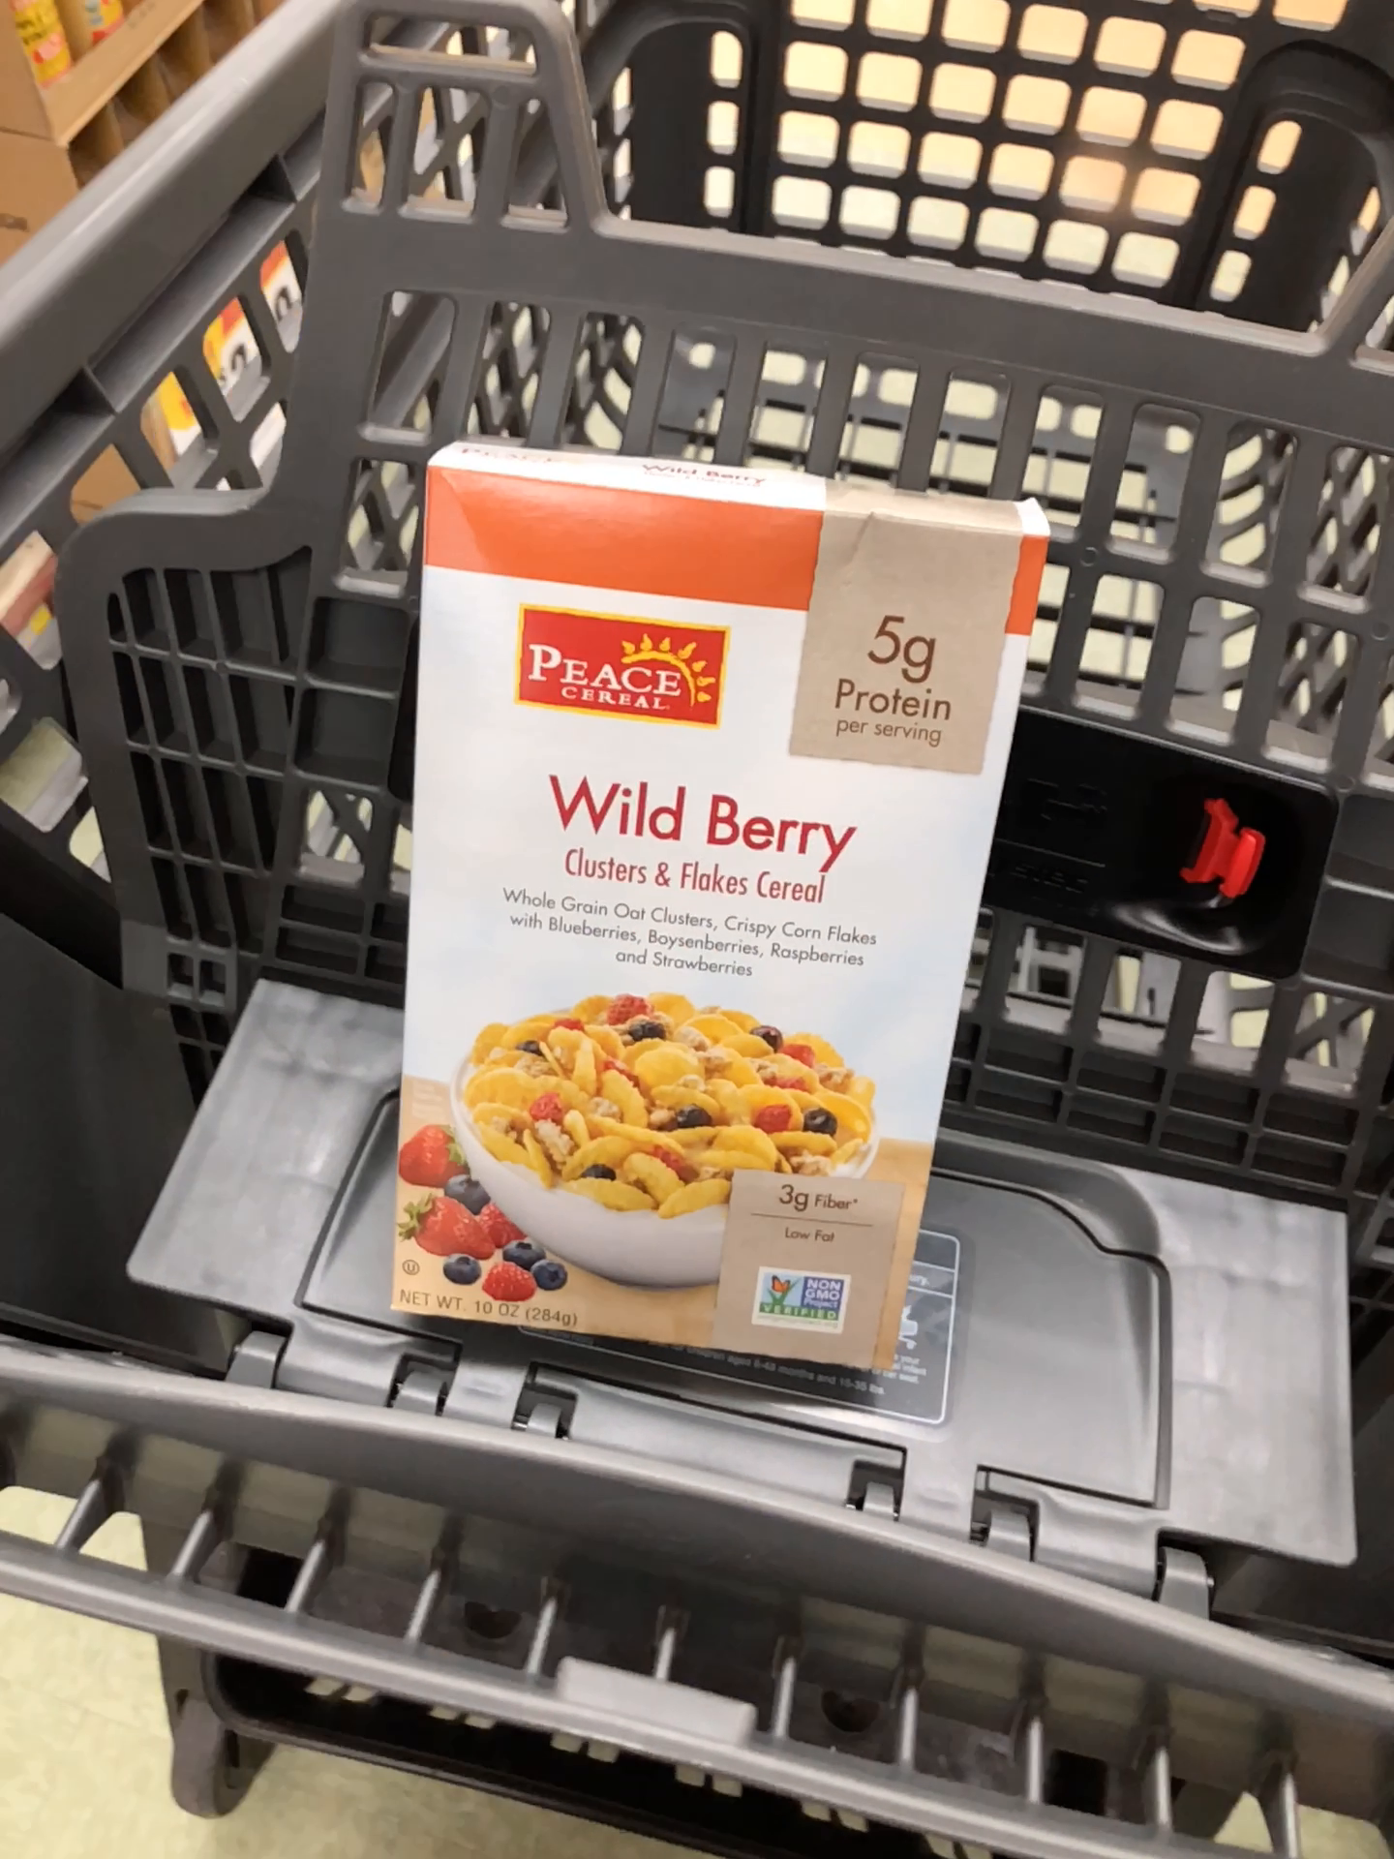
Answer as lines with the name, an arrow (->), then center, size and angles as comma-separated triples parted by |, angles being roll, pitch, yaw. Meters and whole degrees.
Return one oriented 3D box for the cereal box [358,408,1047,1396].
cereal box -> -0.007, -0.003, 0.440 | 0.160, 0.260, 0.060 | 6, 20, 1
